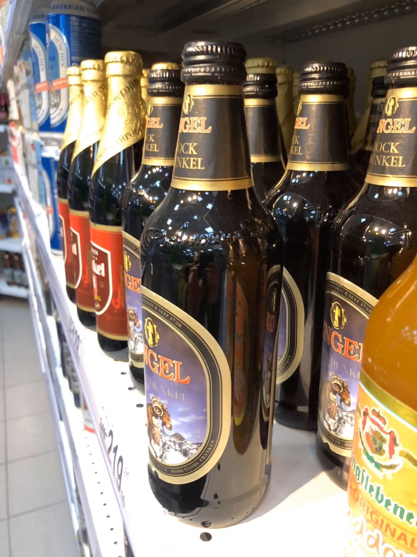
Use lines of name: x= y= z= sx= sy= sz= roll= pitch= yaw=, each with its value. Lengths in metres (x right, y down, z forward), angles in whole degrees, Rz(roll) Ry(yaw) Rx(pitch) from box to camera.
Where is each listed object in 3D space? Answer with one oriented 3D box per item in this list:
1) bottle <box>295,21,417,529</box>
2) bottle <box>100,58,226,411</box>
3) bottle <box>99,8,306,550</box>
bottle: x=0.101 y=0.004 z=0.246 sx=0.070 sy=0.233 sz=0.069 roll=0 pitch=18 yaw=0
bottle: x=-0.032 y=-0.029 z=0.343 sx=0.061 sy=0.233 sz=0.070 roll=-10 pitch=21 yaw=-27
bottle: x=-0.006 y=0.006 z=0.230 sx=0.061 sy=0.229 sz=0.070 roll=-10 pitch=21 yaw=-27
